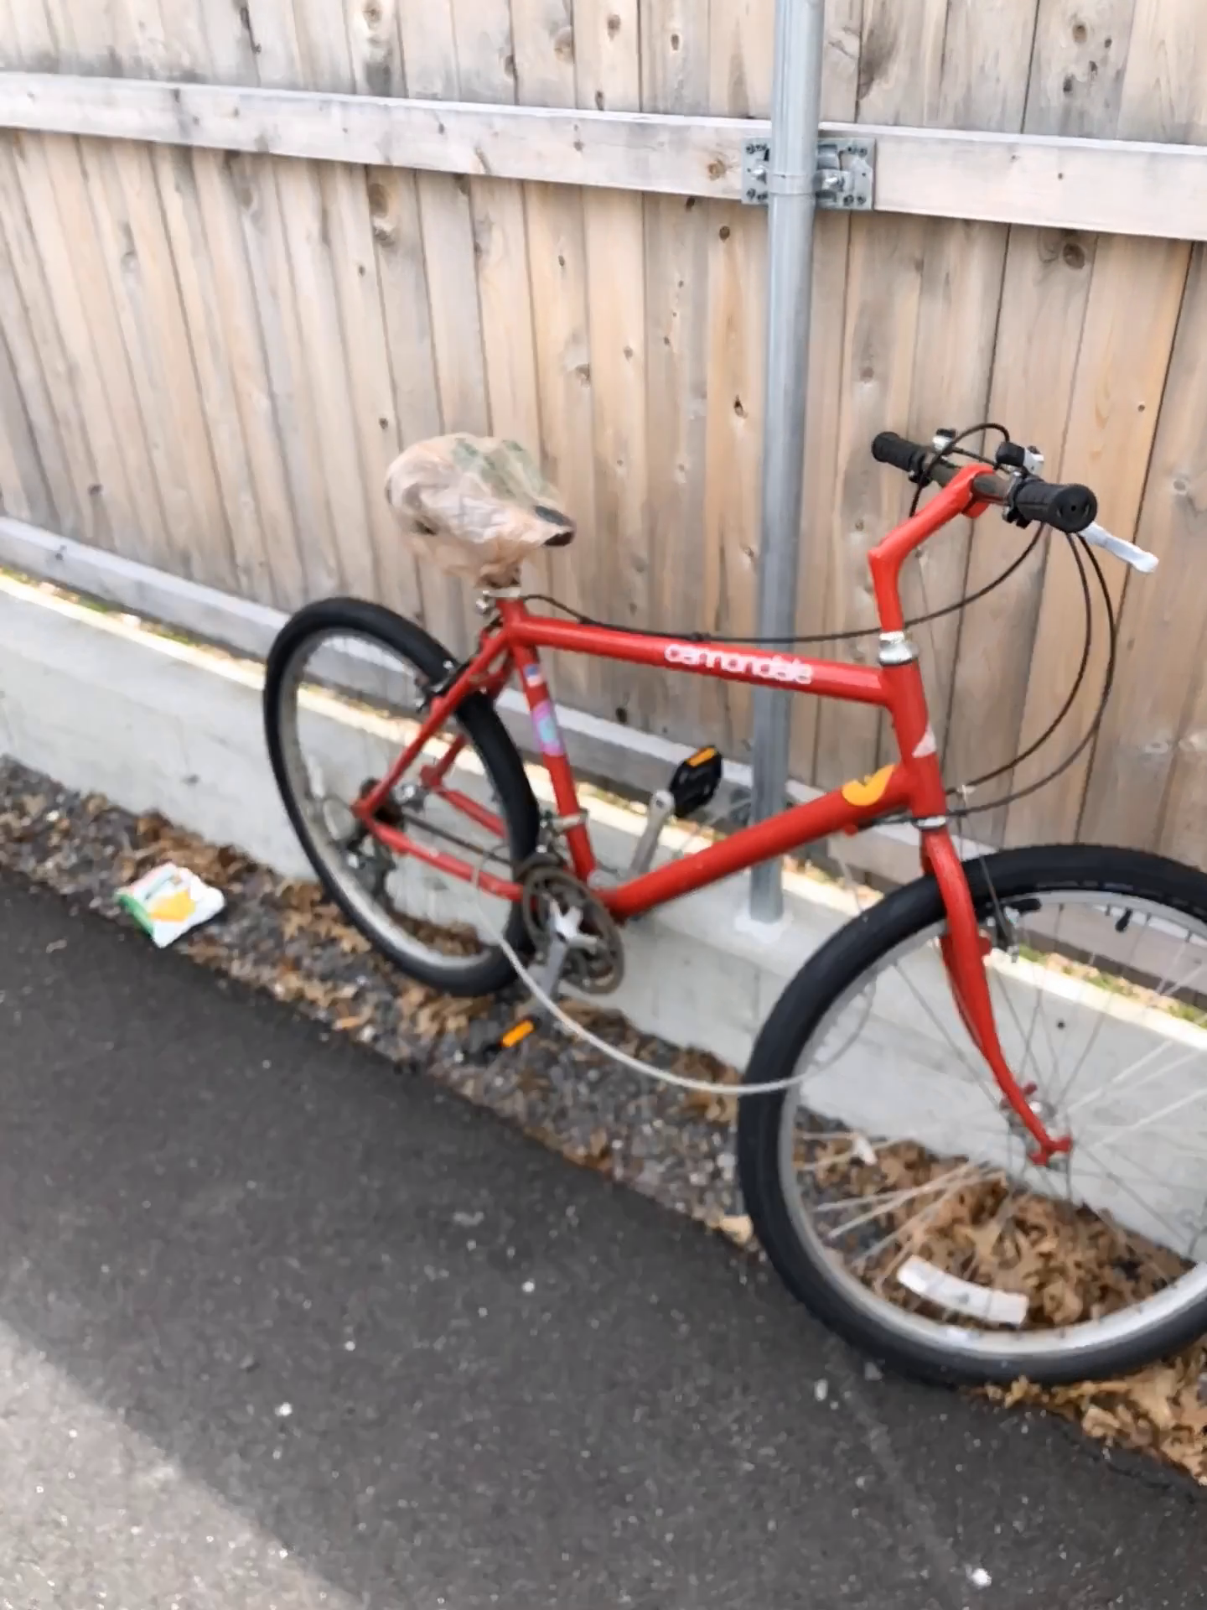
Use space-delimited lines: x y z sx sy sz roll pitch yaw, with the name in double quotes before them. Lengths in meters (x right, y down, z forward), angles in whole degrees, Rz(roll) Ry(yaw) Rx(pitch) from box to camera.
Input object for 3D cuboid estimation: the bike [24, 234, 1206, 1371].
"bike" 0.117 -0.129 1.681 1.476 1.001 0.595 17 38 33
